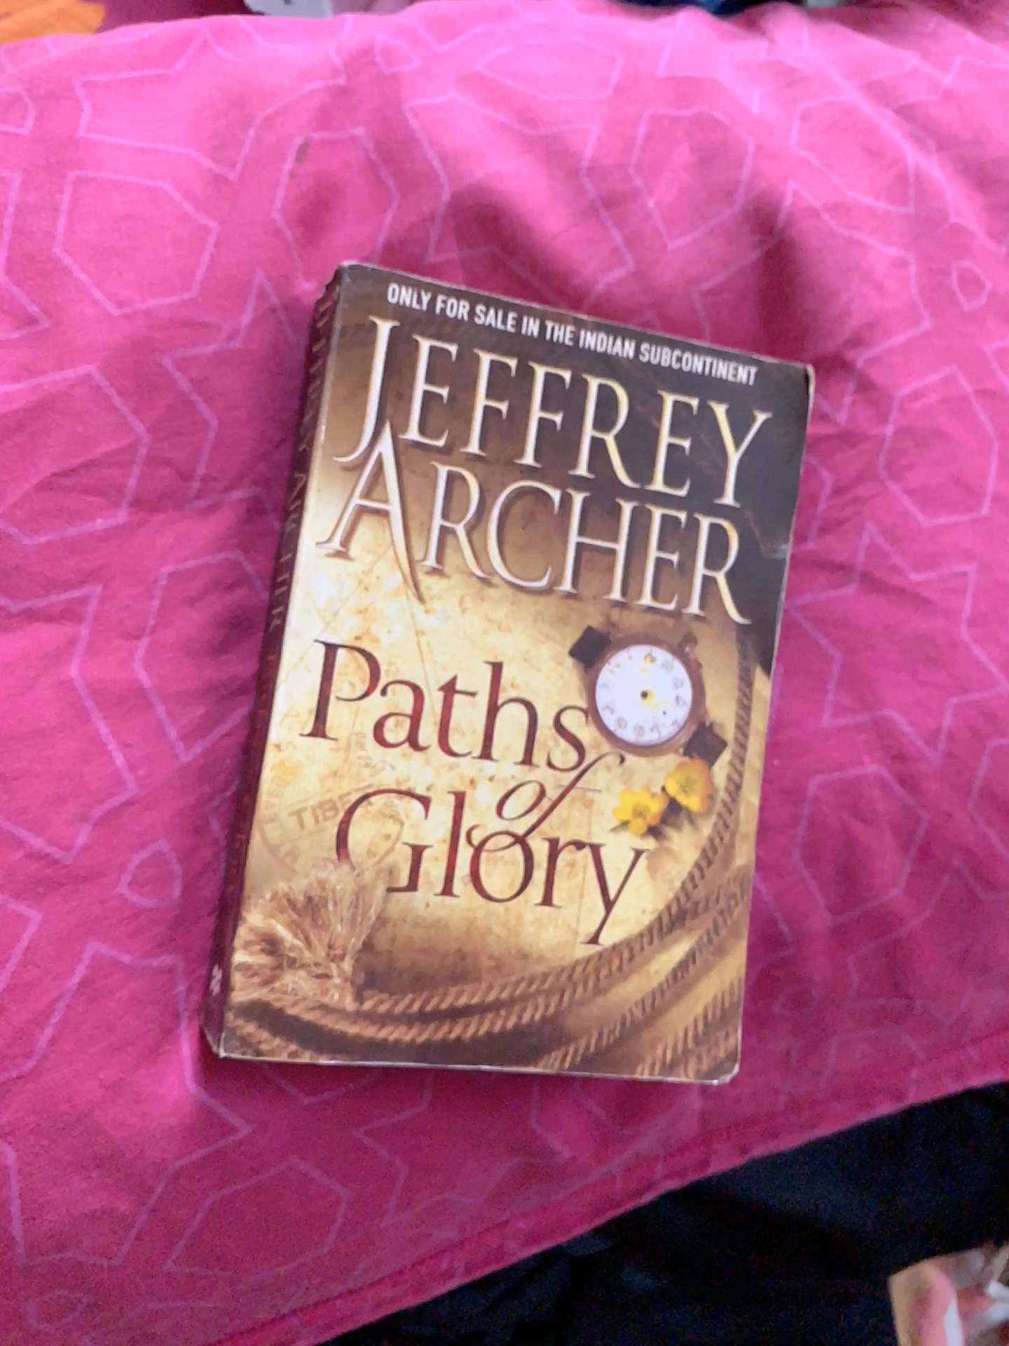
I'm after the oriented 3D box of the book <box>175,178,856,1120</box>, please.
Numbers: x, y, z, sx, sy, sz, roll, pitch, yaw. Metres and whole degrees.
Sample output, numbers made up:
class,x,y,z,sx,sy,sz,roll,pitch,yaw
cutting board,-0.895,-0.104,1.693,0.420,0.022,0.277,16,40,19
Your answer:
class,x,y,z,sx,sy,sz,roll,pitch,yaw
book,0.005,-0.003,0.241,0.120,0.040,0.180,9,84,-11
